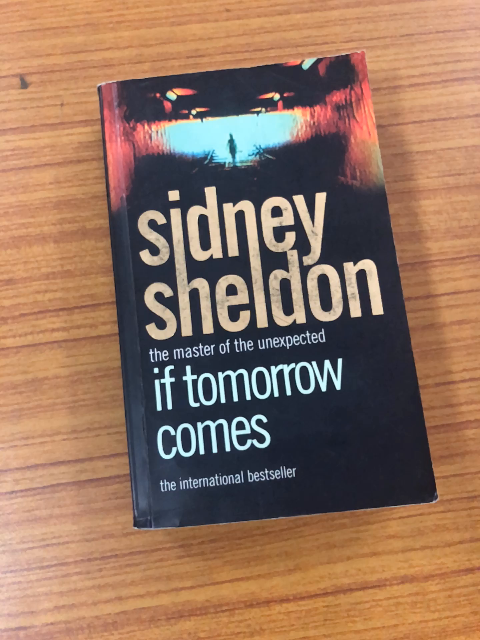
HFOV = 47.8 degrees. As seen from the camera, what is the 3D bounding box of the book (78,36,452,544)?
[{"bbox_3d":[0.005,-0.015,0.213,0.114,0.034,0.176,-6,81,-1],"label":"book"}]
